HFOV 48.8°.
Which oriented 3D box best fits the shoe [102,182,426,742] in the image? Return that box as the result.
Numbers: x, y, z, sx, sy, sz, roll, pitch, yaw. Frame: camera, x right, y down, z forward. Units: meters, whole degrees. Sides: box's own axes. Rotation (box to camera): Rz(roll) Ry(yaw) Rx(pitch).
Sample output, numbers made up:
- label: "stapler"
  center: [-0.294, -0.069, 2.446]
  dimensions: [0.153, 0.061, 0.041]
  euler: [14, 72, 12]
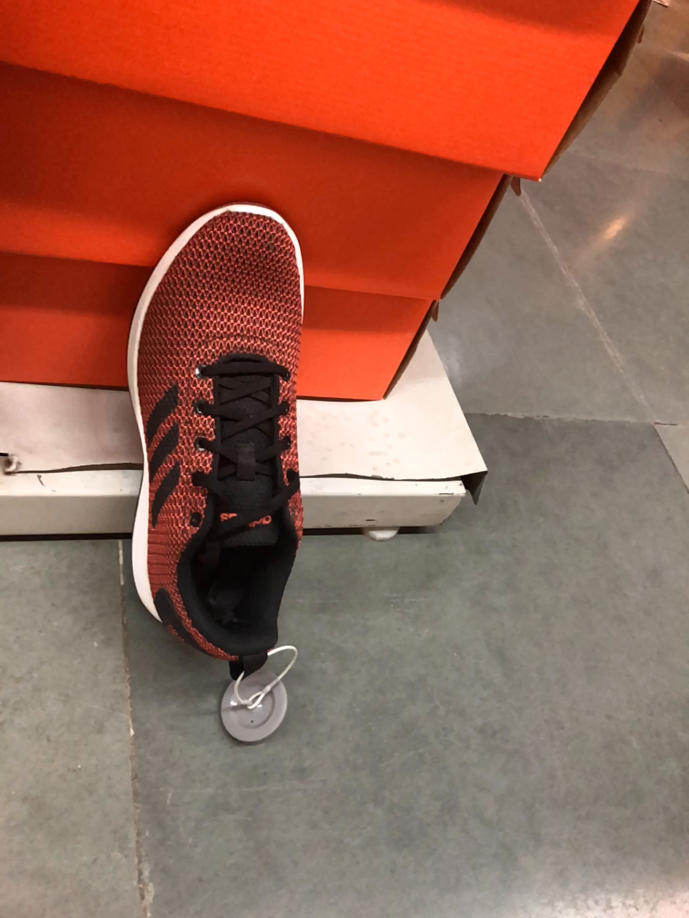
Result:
- label: "shoe"
  center: [-0.060, -0.004, 0.431]
  dimensions: [0.110, 0.271, 0.133]
  euler: [3, 17, -26]
